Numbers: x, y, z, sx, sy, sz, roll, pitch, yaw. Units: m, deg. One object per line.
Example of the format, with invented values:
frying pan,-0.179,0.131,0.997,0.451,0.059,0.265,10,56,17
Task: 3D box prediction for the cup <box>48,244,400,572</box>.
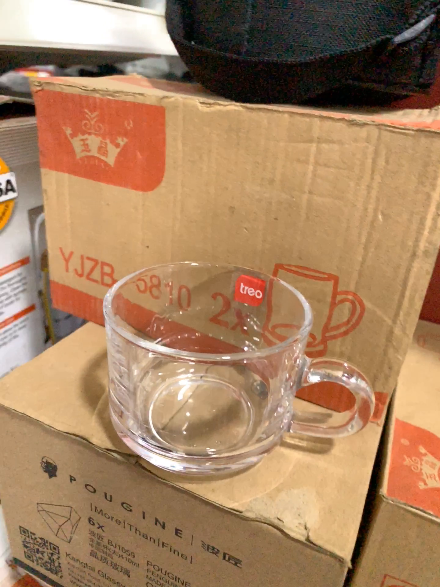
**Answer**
cup,0.004,0.031,0.176,0.104,0.061,0.072,15,28,20
